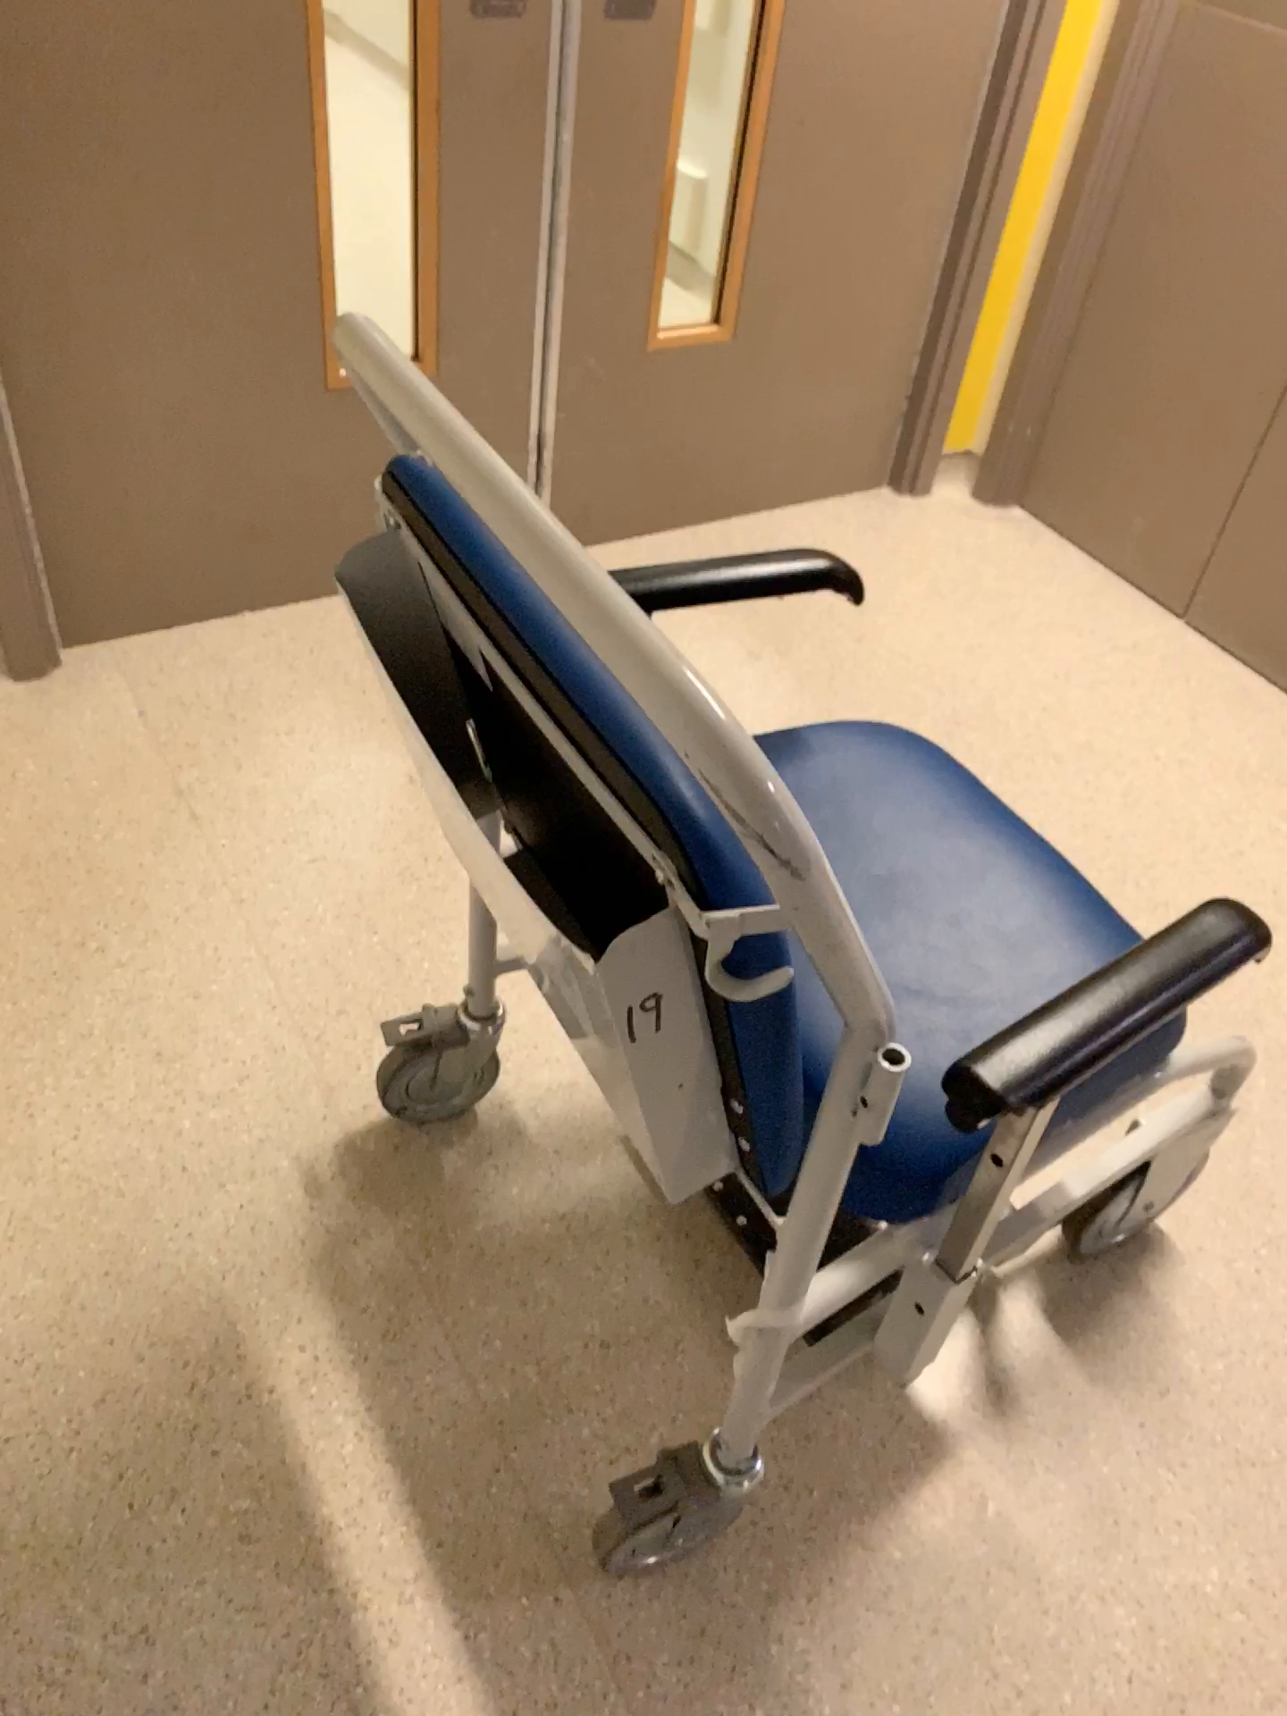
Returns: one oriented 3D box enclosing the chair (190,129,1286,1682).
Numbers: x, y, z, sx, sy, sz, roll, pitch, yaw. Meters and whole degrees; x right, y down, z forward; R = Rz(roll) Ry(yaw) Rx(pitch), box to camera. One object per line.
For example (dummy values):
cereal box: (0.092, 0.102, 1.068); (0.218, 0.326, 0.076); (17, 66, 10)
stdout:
chair: (0.203, -0.010, 1.292); (0.942, 1.030, 0.826); (-16, 48, -24)
